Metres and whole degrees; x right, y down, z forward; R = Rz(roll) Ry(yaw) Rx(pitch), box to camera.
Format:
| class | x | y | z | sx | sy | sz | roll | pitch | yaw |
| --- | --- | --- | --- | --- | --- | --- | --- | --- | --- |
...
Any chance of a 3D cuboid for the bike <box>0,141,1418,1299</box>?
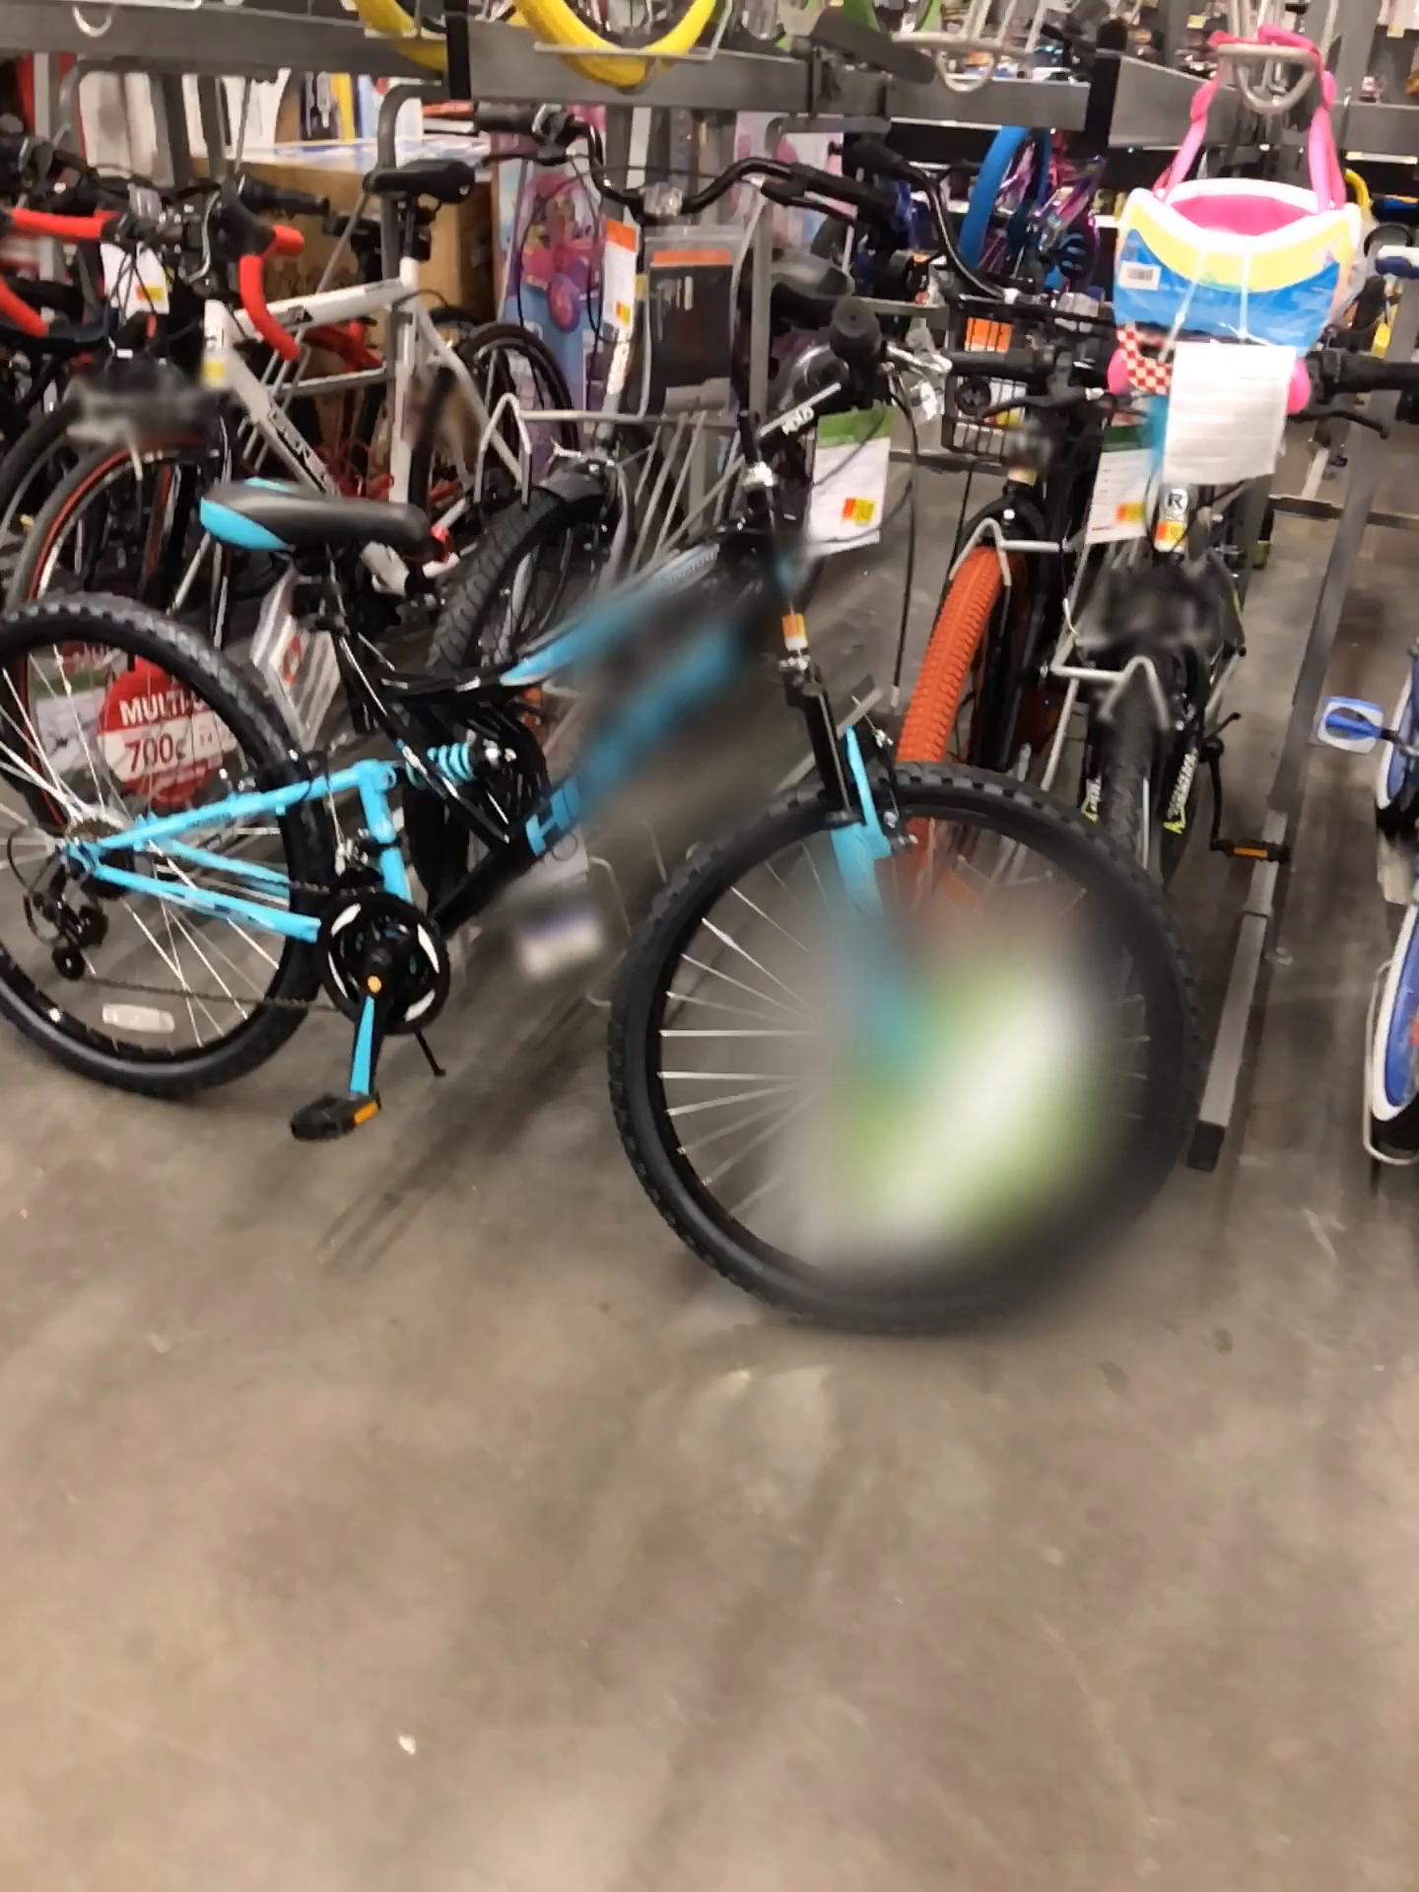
| class | x | y | z | sx | sy | sz | roll | pitch | yaw |
| --- | --- | --- | --- | --- | --- | --- | --- | --- | --- |
| bike | -0.163 | -0.327 | 1.934 | 1.705 | 1.120 | 0.546 | 10 | 32 | 14 |
